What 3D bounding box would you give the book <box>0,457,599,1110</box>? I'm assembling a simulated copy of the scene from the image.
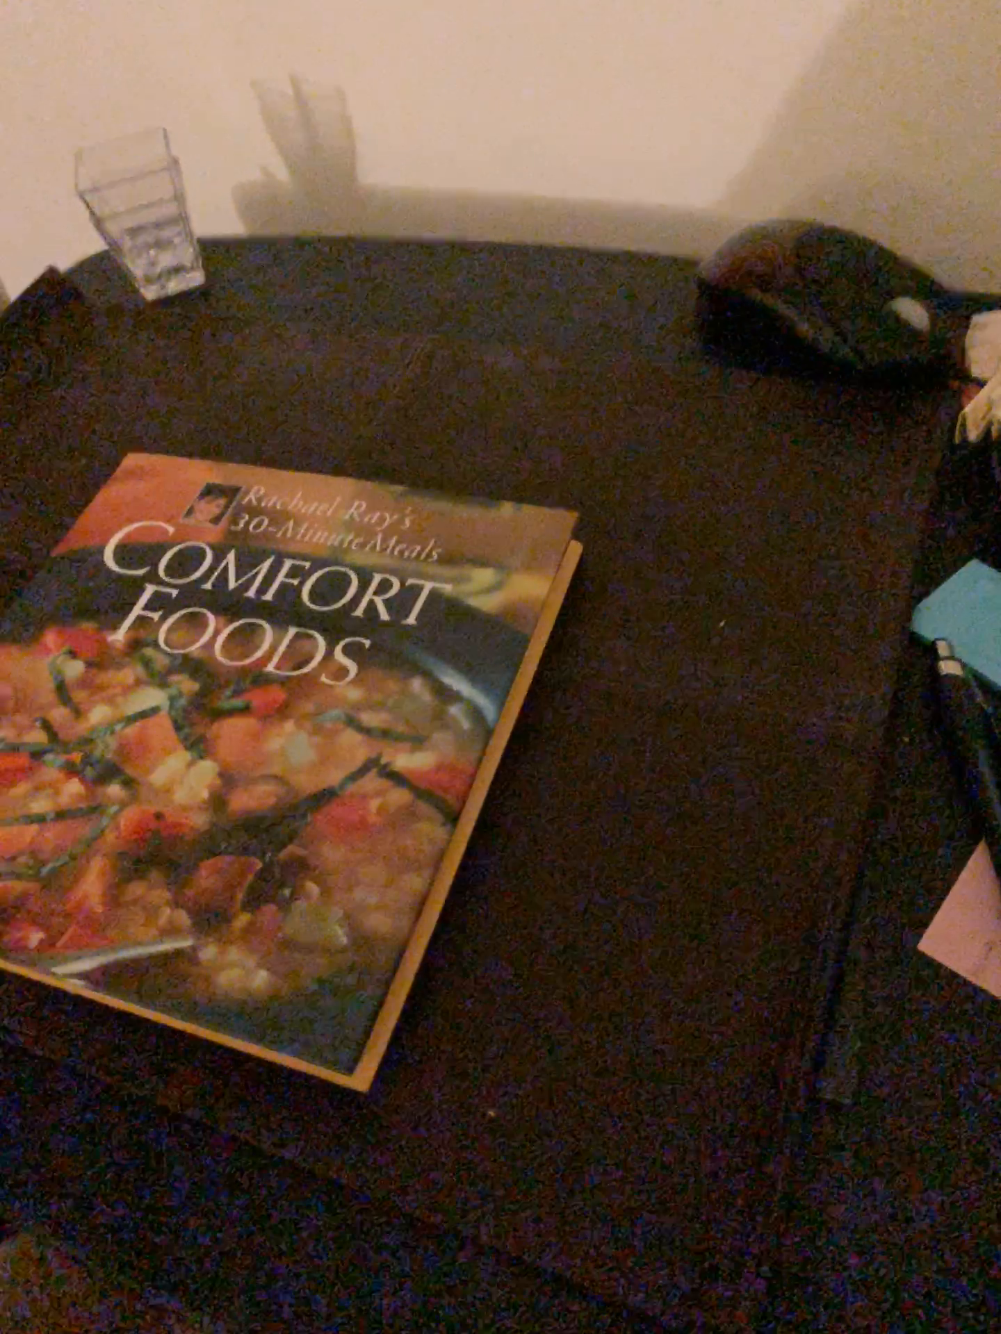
[{"bbox_3d":[-0.092,0.013,0.345,0.200,0.020,0.201,10,55,19],"label":"book"}]
